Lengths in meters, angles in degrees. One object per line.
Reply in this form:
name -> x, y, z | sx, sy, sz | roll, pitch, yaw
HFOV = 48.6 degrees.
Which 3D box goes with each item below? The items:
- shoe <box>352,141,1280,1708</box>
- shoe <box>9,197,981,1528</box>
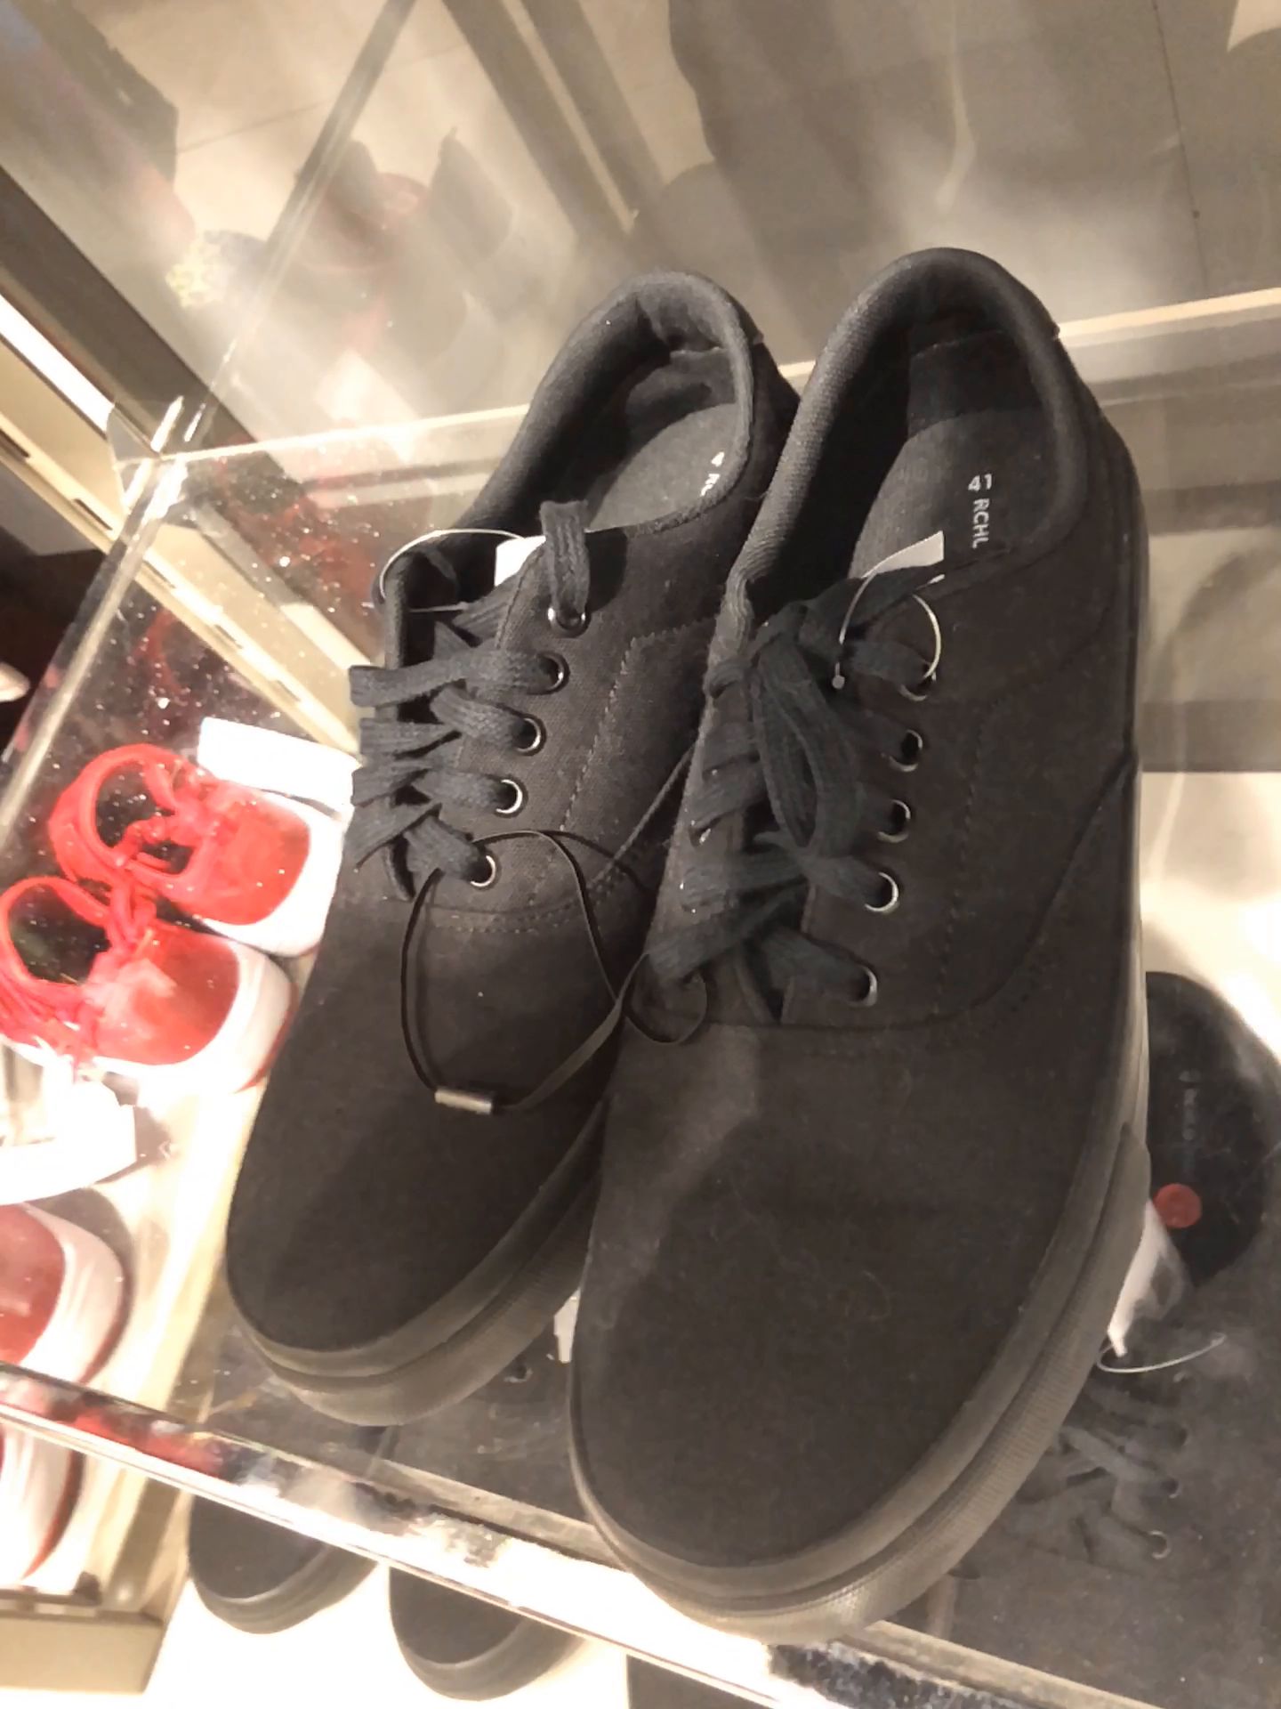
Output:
shoe -> 0.065, 0.009, 0.318 | 0.110, 0.109, 0.321 | 2, 63, 31
shoe -> -0.017, -0.010, 0.384 | 0.110, 0.109, 0.320 | 8, 66, 33
